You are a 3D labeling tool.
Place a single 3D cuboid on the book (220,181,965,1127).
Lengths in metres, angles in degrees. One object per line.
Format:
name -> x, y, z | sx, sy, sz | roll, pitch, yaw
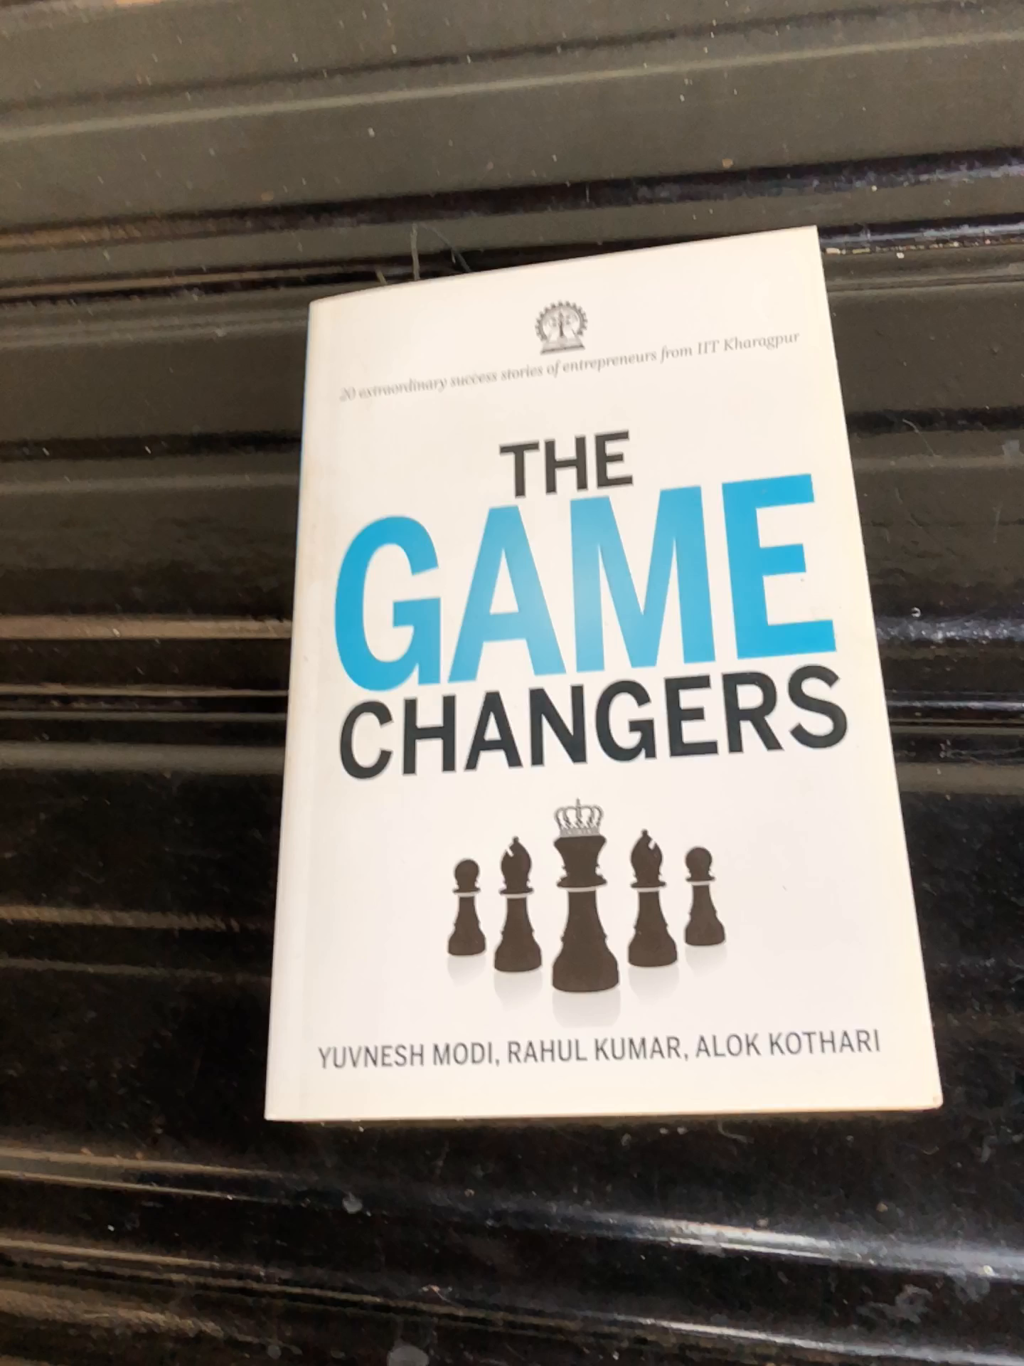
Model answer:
book -> 0.012, -0.011, 0.265 | 0.140, 0.030, 0.210 | -5, 69, 11
